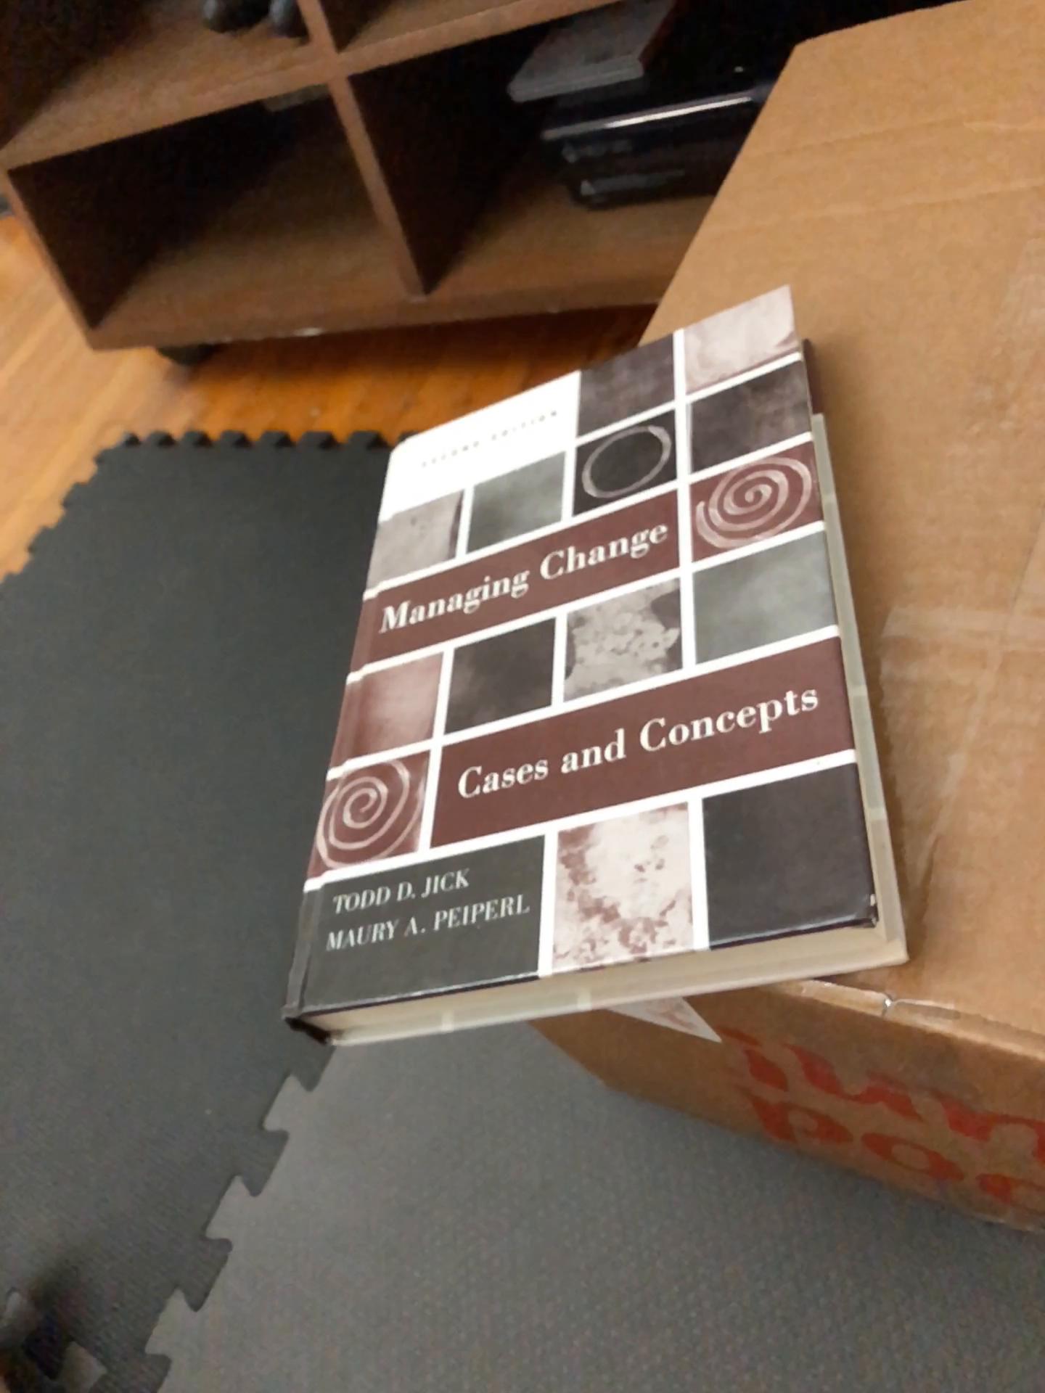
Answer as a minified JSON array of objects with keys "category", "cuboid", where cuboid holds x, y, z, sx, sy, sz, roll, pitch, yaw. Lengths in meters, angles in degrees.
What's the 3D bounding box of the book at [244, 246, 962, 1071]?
[{"category":"book","cuboid":[0.018,-0.022,0.363,0.180,0.030,0.251,-15,49,23]}]
